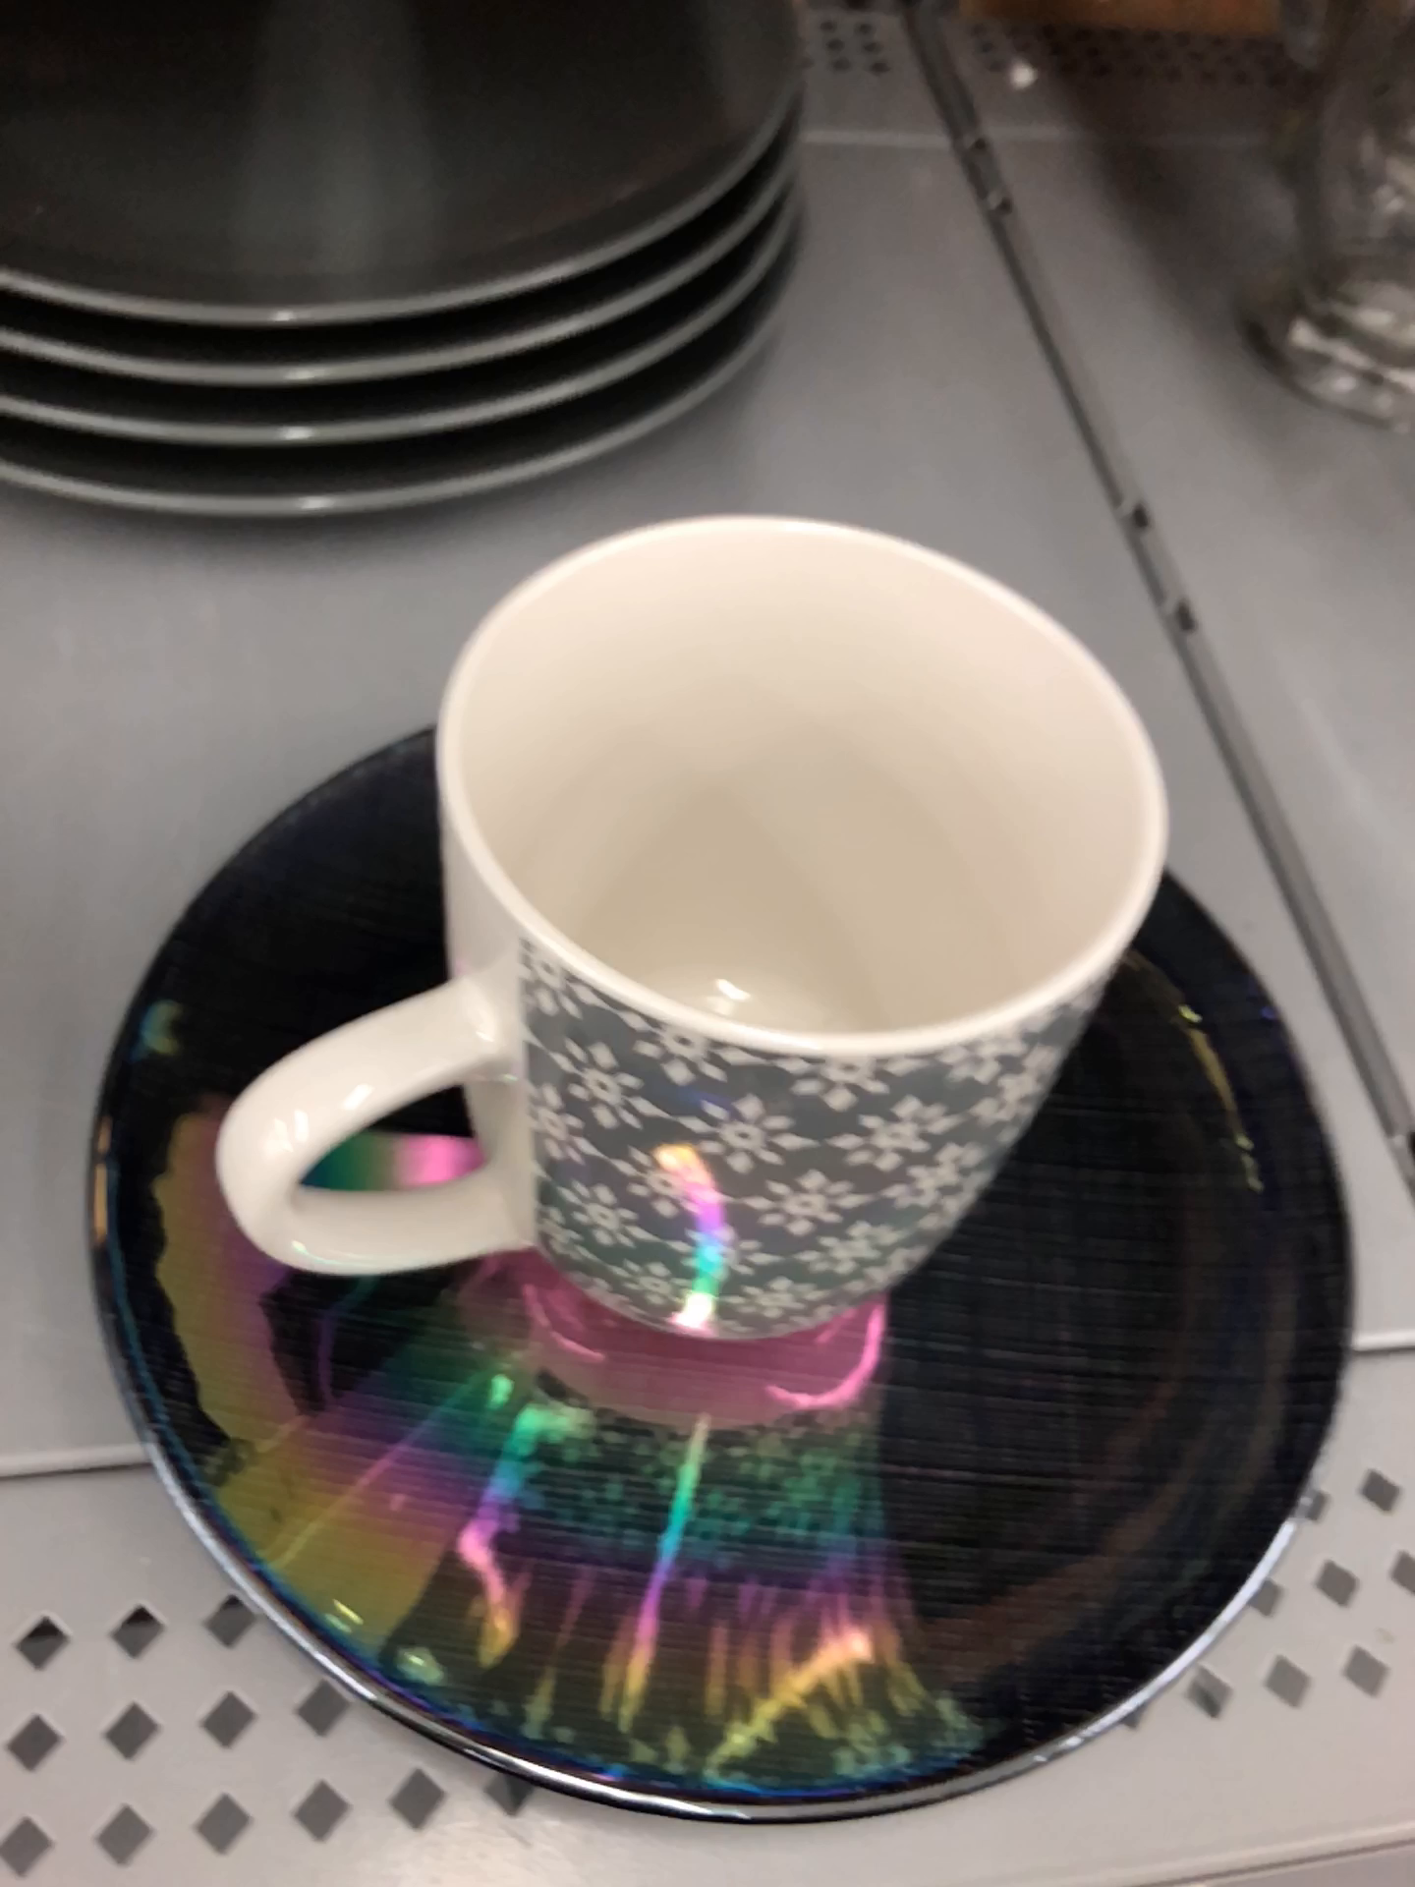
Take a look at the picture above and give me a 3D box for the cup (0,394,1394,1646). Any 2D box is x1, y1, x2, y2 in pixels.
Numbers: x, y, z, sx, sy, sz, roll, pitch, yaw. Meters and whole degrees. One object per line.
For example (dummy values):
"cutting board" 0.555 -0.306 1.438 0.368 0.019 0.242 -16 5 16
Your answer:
"cup" -0.006 0.007 0.217 0.129 0.096 0.093 -22 59 -22
